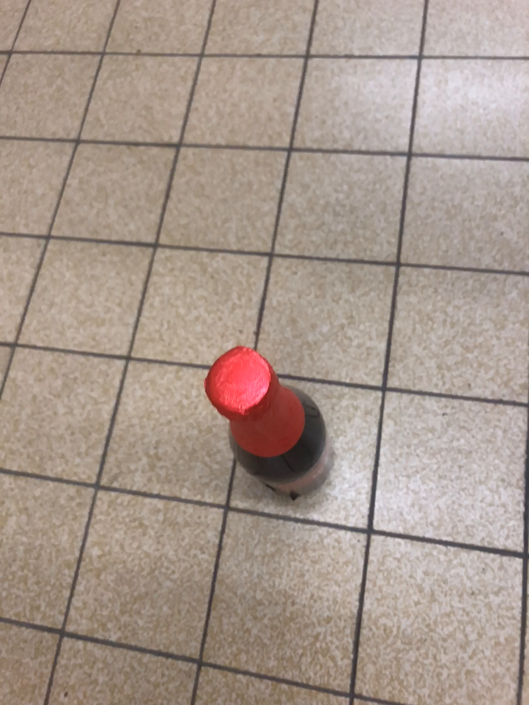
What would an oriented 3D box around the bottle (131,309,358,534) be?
[{"bbox_3d":[0.008,0.052,0.316,0.070,0.200,0.070,-3,72,9],"label":"bottle"}]
